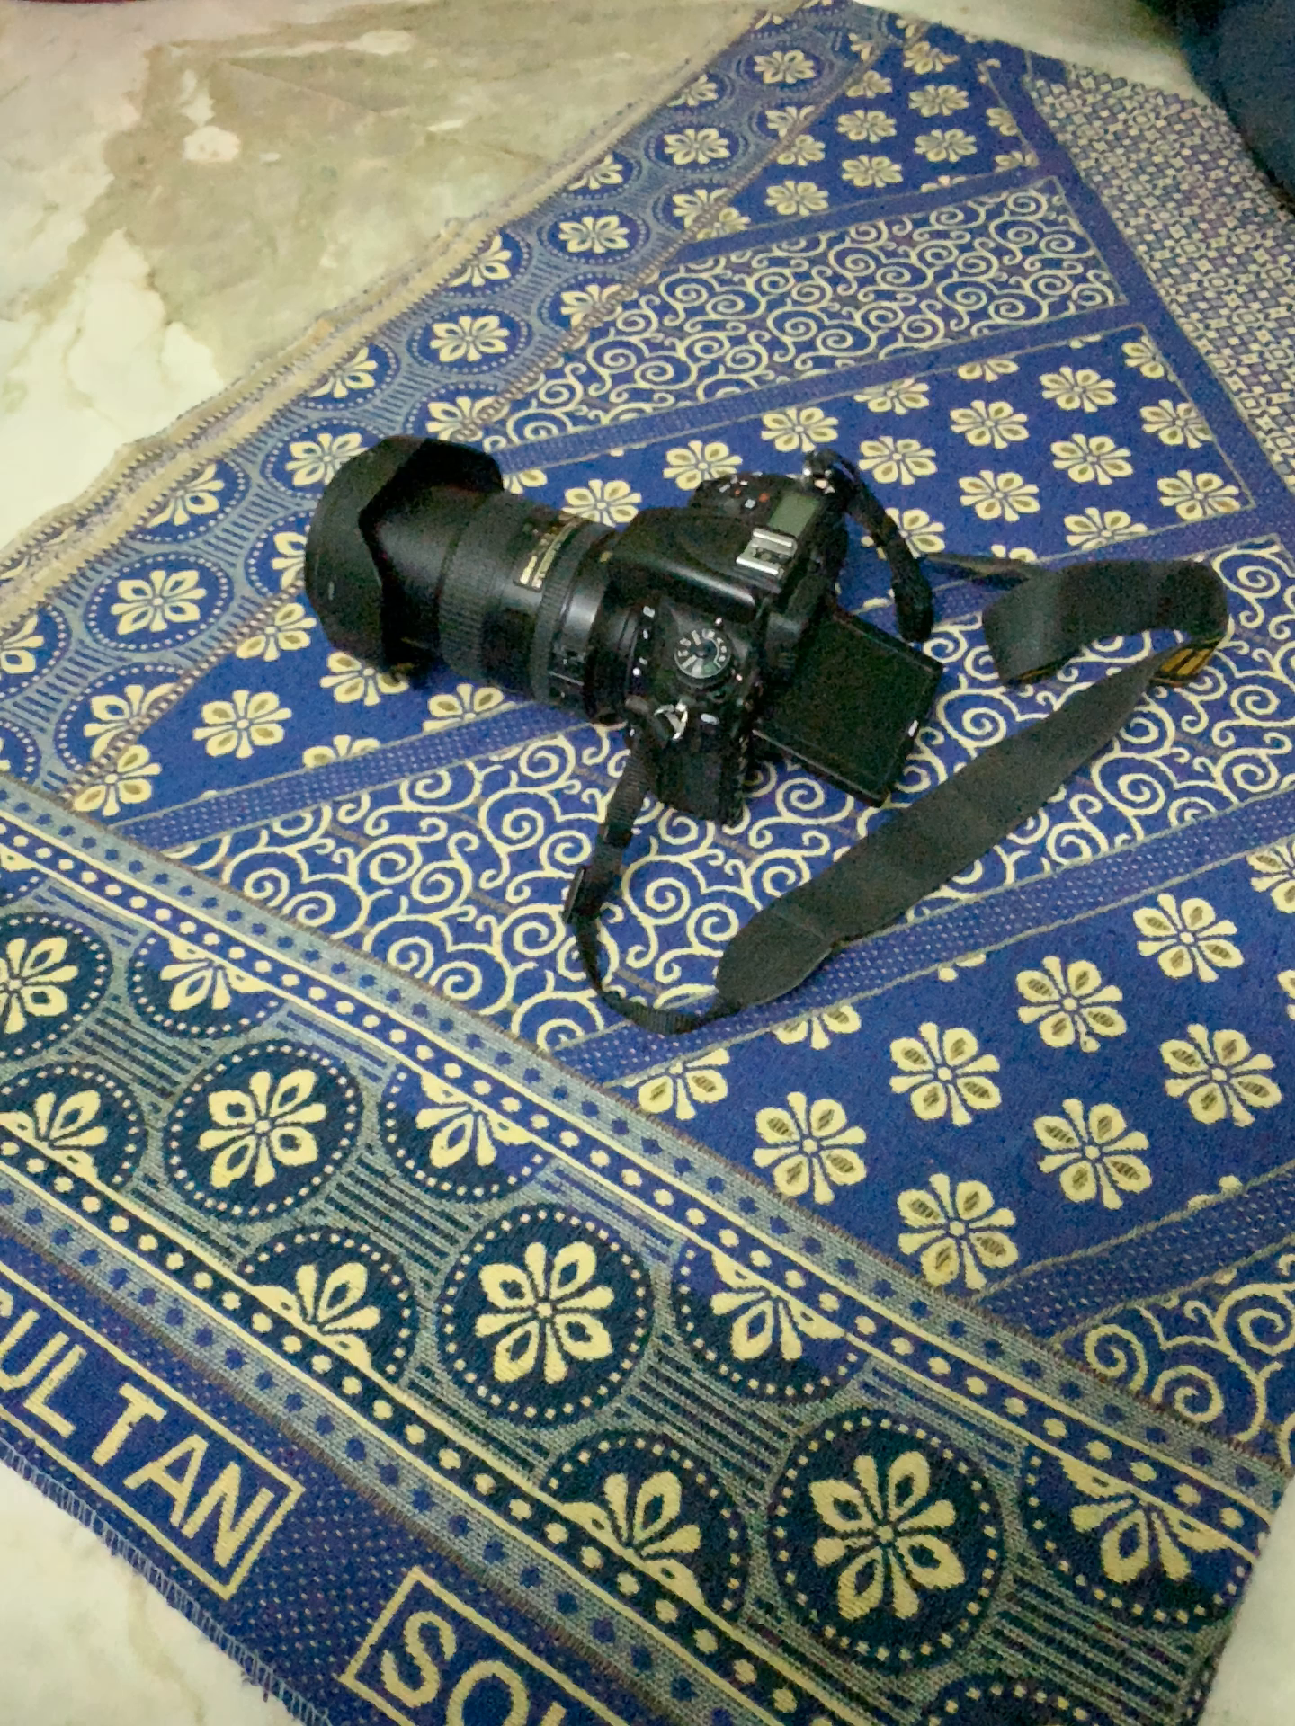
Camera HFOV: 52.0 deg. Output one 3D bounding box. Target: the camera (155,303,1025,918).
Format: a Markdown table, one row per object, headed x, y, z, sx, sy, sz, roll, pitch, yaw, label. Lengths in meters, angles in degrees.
| x | y | z | sx | sy | sz | roll | pitch | yaw | label |
| --- | --- | --- | --- | --- | --- | --- | --- | --- | --- |
| -0.023 | -0.121 | 0.590 | 0.320 | 0.110 | 0.160 | 20 | 57 | 16 | camera |
